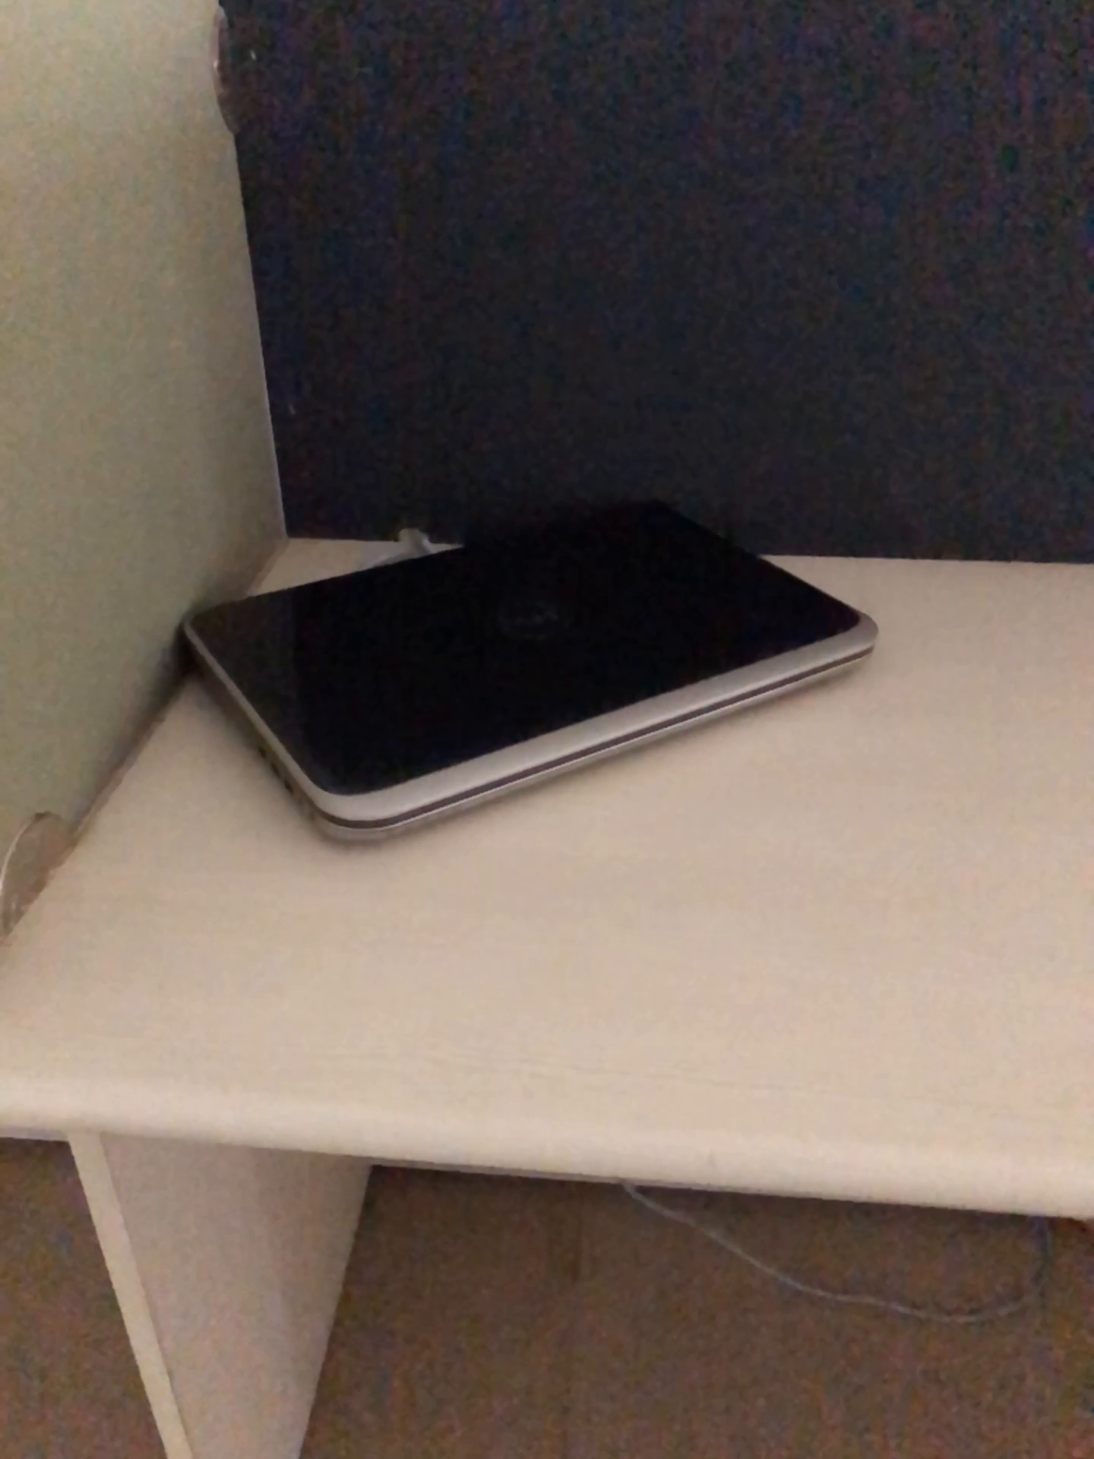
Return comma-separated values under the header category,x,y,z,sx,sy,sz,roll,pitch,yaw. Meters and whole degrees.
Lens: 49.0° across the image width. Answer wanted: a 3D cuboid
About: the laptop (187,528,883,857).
category,x,y,z,sx,sy,sz,roll,pitch,yaw
laptop,-0.013,-0.046,0.788,0.372,0.010,0.246,-19,36,-24
